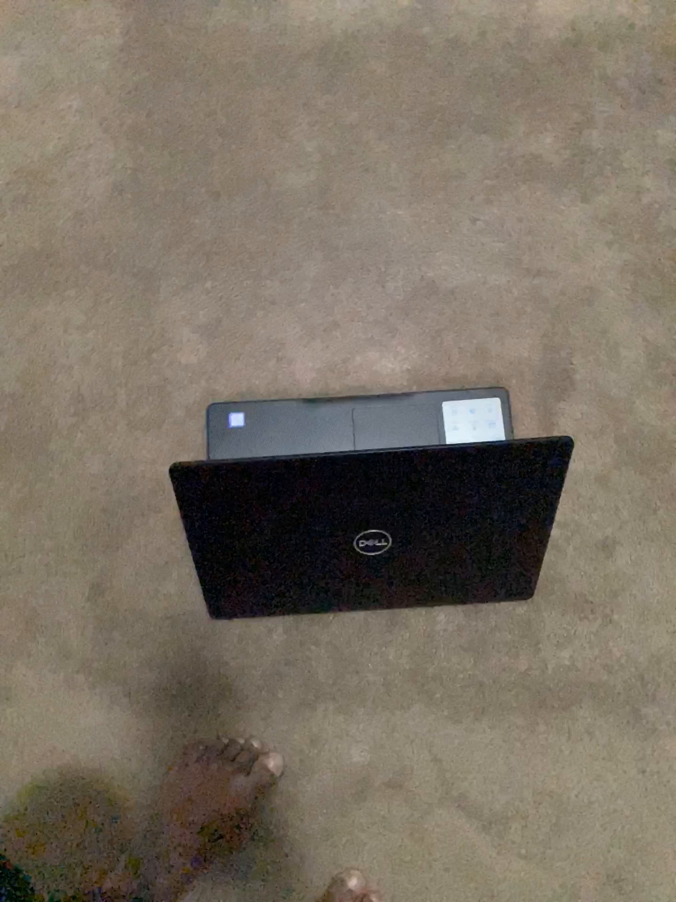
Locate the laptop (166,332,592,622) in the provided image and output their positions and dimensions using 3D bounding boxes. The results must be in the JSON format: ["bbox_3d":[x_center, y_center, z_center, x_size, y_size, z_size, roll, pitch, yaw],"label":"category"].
[{"bbox_3d":[0.029,0.037,0.734,0.376,0.202,0.252,-3,77,0],"label":"laptop"}]
